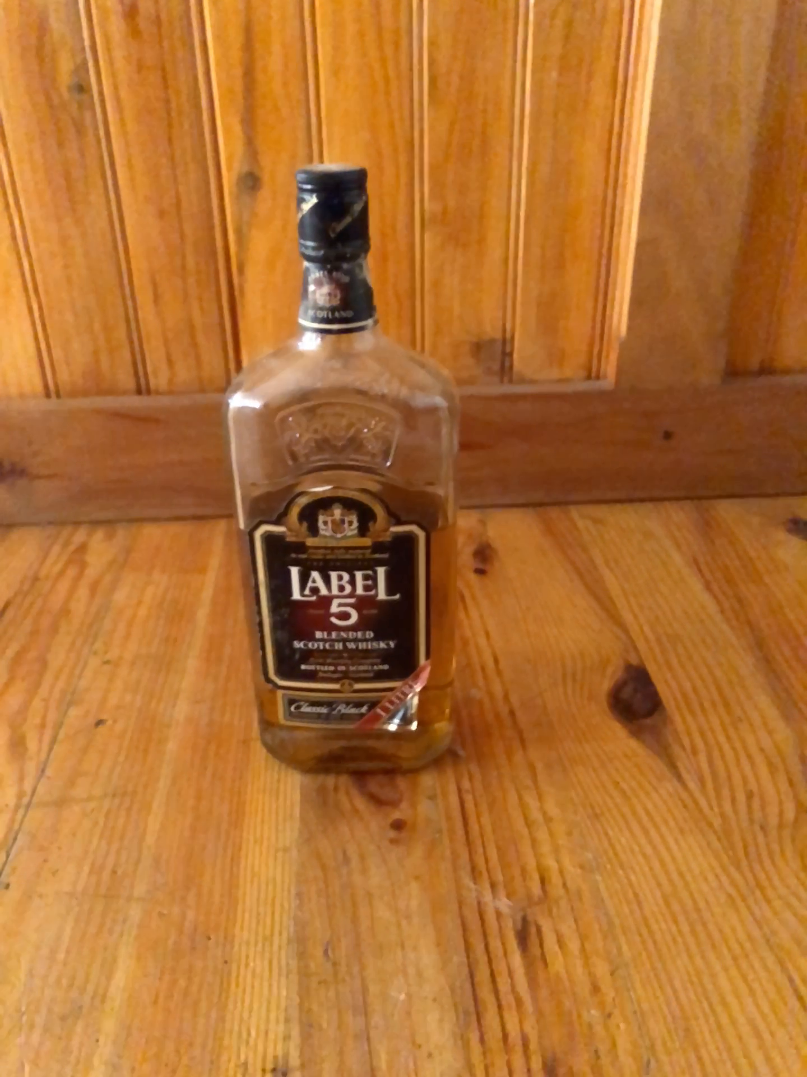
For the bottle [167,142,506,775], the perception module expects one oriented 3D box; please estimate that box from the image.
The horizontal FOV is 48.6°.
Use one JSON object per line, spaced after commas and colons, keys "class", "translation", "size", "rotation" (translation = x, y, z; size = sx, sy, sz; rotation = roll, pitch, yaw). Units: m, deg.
{"class": "bottle", "translation": [-0.021, -0.025, 0.421], "size": [0.120, 0.288, 0.080], "rotation": [0, 30, 2]}
